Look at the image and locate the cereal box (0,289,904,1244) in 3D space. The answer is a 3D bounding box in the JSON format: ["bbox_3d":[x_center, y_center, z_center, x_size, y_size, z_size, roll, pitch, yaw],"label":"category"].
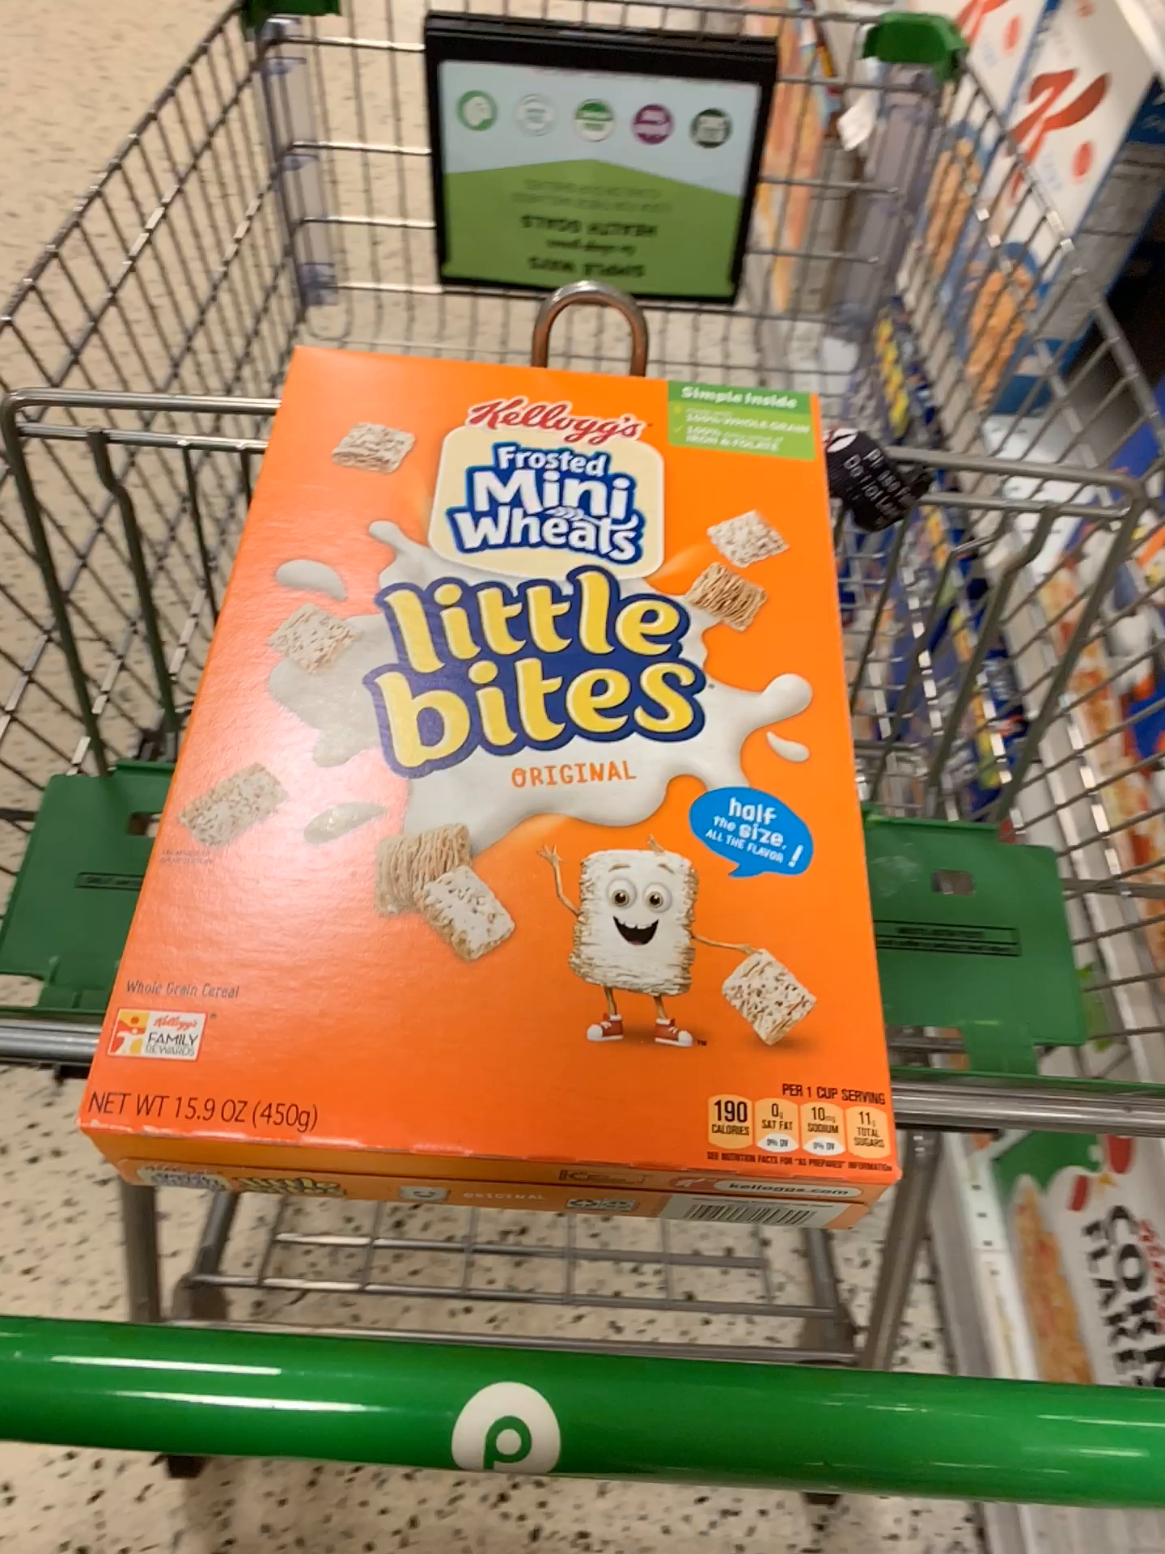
[{"bbox_3d":[-0.026,-0.029,0.392,0.210,0.060,0.323,4,55,-2],"label":"cereal box"}]
